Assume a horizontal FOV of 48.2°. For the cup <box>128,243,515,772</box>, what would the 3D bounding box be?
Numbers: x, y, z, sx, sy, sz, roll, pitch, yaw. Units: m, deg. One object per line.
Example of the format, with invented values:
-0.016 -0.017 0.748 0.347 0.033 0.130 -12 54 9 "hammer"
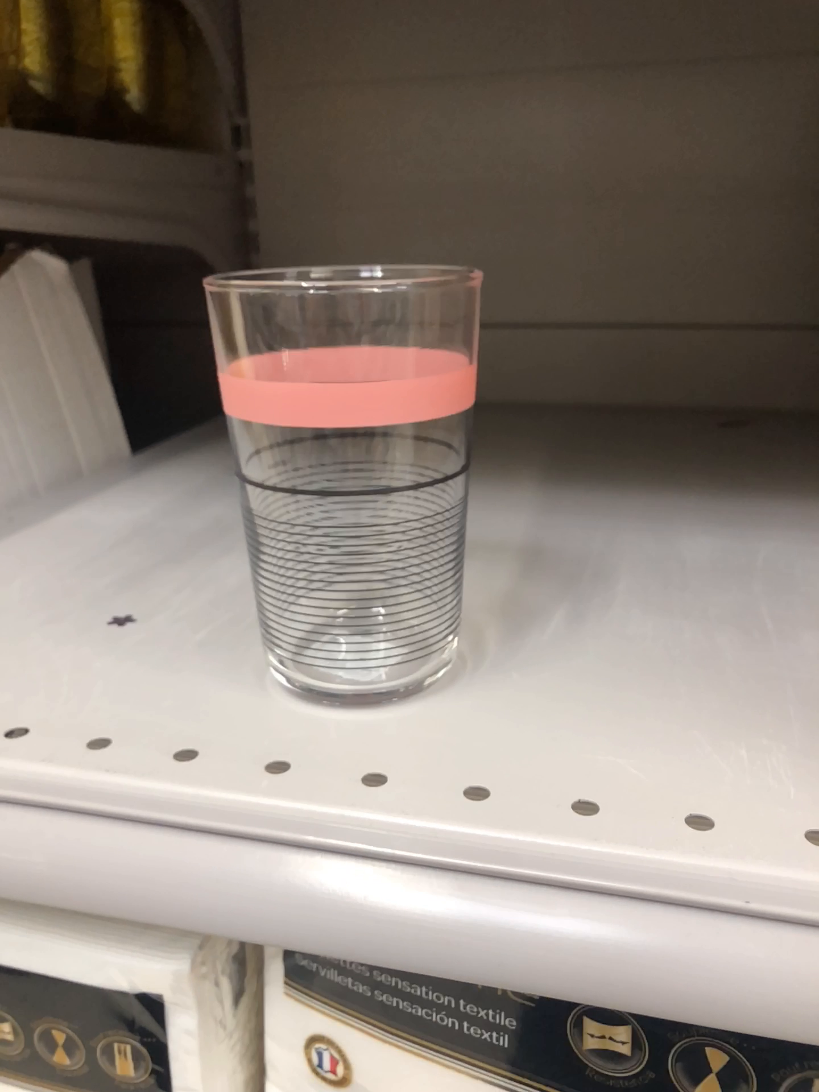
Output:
-0.019 -0.017 0.255 0.073 0.123 0.064 13 27 36 "cup"
